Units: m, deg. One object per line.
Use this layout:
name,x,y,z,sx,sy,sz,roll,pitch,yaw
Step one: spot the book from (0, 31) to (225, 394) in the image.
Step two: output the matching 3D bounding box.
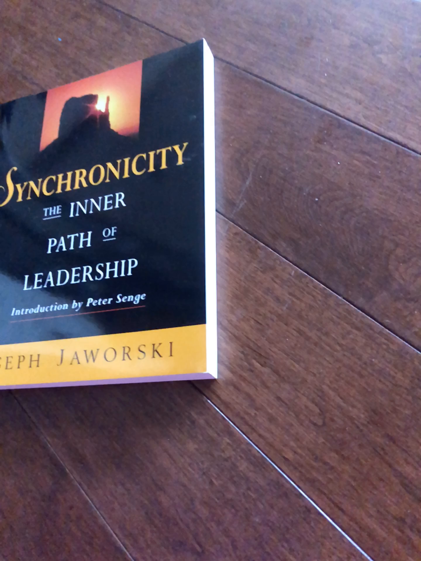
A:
book,-0.087,-0.042,0.317,0.190,0.030,0.222,-8,70,20
